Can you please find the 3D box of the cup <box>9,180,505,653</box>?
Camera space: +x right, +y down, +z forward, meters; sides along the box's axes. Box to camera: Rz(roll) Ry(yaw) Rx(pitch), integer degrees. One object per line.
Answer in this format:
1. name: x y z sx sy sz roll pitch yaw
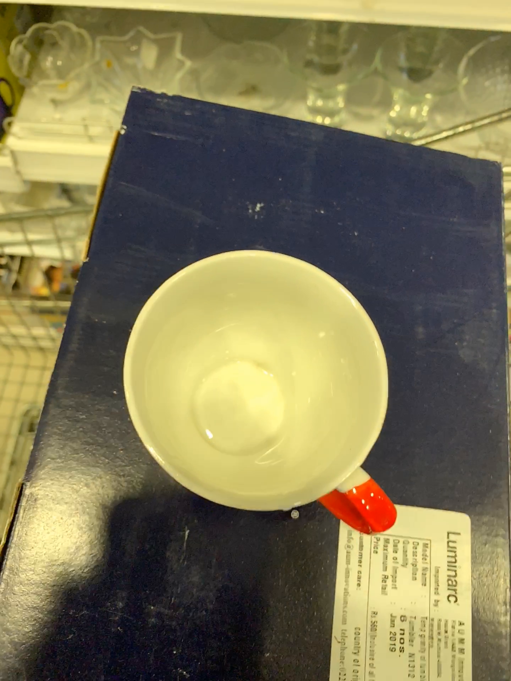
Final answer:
1. cup: 0.000 0.019 0.155 0.100 0.050 0.070 36 75 6
